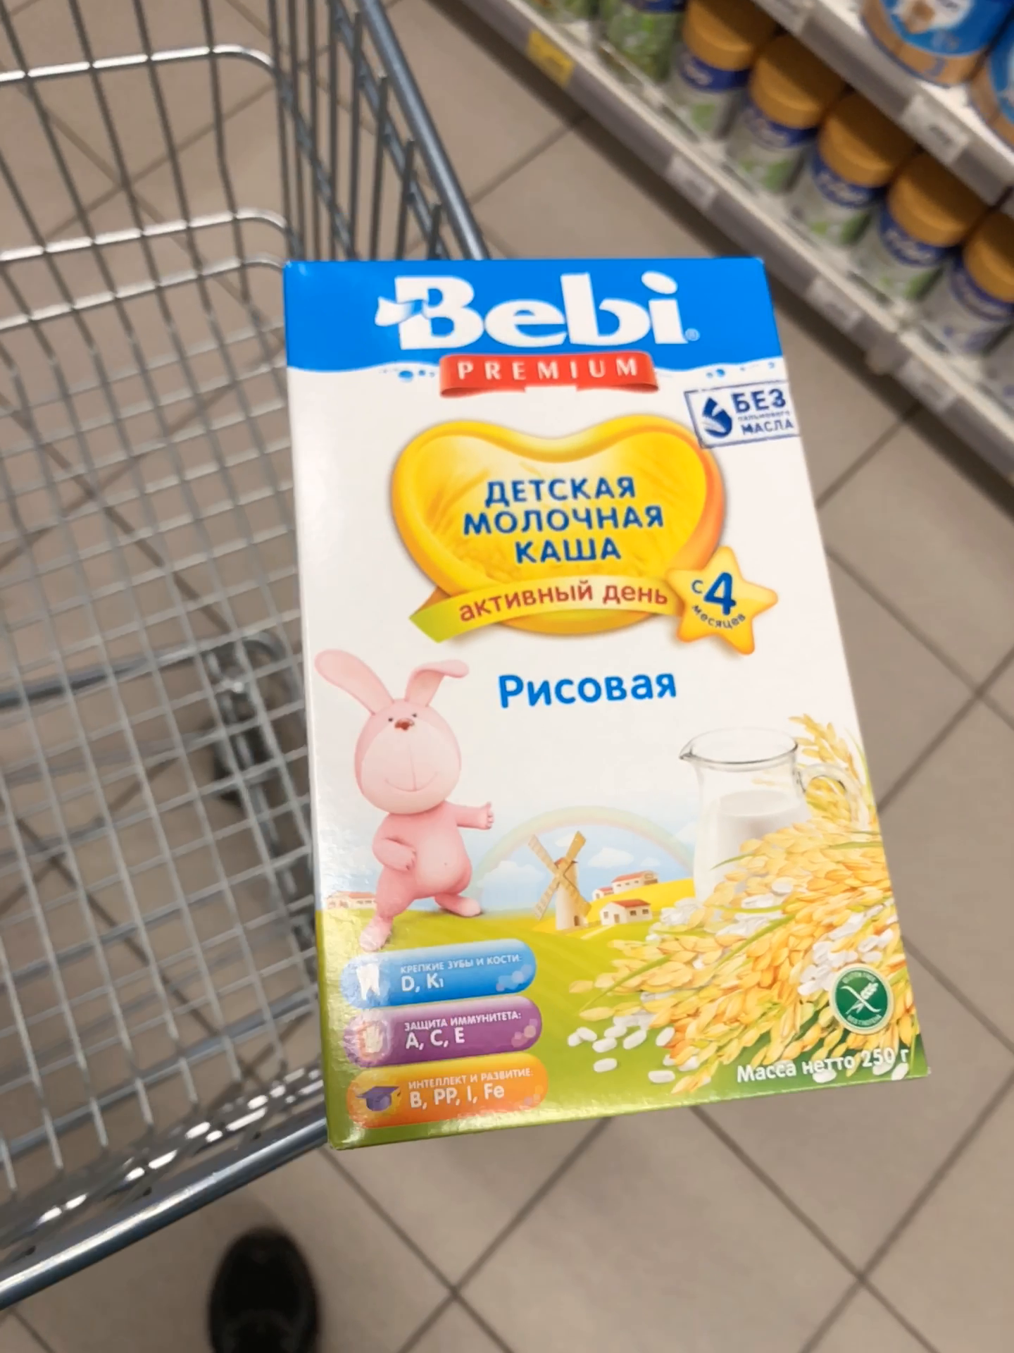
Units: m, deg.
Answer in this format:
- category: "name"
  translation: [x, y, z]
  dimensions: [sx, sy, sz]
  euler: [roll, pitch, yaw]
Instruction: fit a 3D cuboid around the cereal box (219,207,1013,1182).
- category: "cereal box"
  translation: [0.015, -0.005, 0.269]
  dimensions: [0.150, 0.050, 0.210]
  euler: [-4, 72, -5]
